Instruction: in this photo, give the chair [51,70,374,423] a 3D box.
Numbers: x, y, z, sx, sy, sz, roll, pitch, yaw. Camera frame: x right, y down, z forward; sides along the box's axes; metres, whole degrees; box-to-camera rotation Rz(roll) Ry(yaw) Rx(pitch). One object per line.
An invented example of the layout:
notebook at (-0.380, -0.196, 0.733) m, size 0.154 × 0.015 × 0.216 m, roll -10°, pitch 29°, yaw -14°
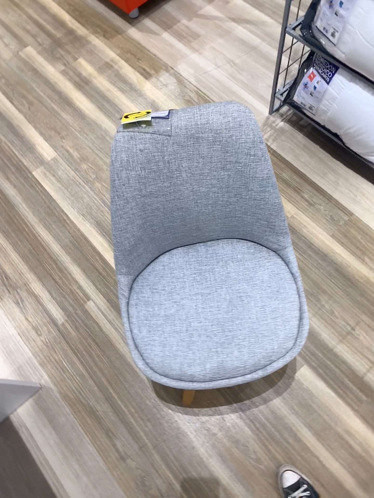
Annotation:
chair at (0.080, 0.116, 0.998) m, size 0.513 × 0.858 × 0.516 m, roll -11°, pitch 67°, yaw 1°
